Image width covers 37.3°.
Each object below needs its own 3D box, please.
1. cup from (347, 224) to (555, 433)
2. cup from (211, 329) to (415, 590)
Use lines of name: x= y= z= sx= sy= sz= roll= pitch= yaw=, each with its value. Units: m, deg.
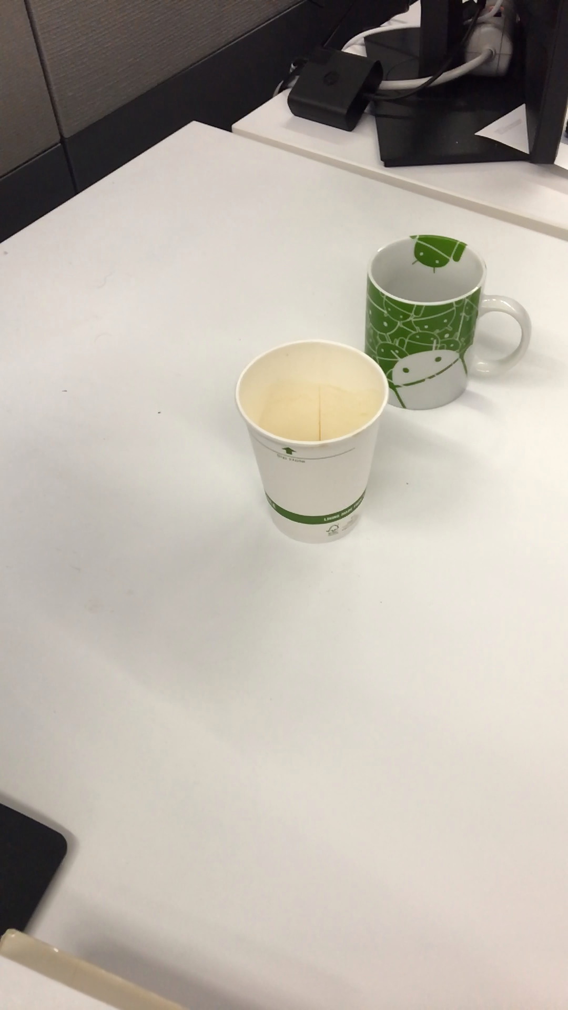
cup: x=0.114 y=-0.124 z=0.590 sx=0.120 sy=0.090 sz=0.090 roll=12 pitch=52 yaw=13
cup: x=0.021 y=-0.026 z=0.505 sx=0.090 sy=0.110 sz=0.090 roll=-2 pitch=50 yaw=2
